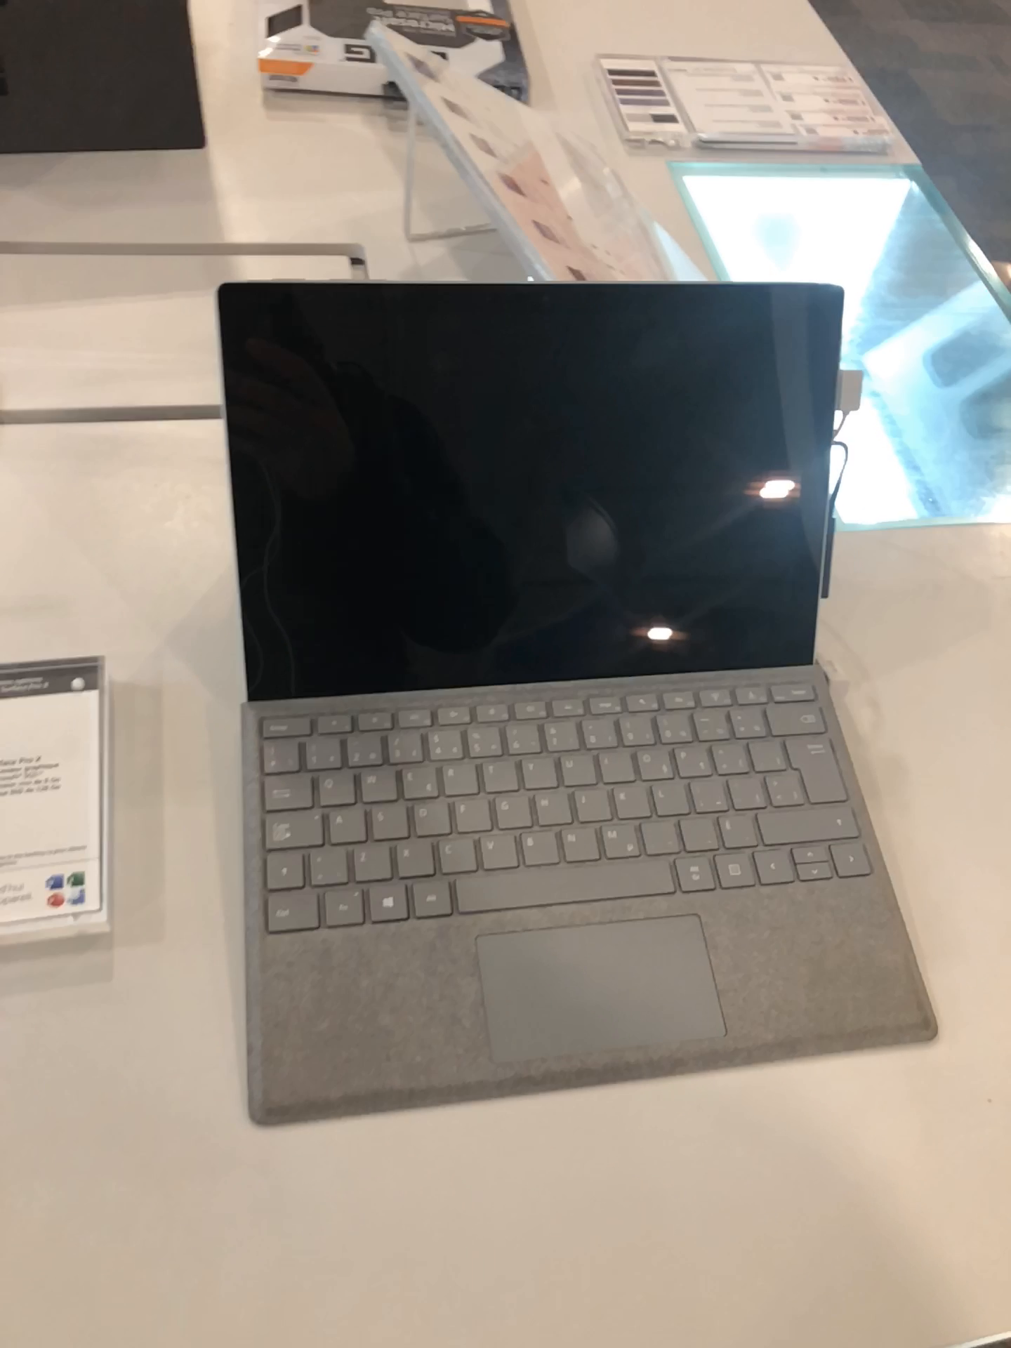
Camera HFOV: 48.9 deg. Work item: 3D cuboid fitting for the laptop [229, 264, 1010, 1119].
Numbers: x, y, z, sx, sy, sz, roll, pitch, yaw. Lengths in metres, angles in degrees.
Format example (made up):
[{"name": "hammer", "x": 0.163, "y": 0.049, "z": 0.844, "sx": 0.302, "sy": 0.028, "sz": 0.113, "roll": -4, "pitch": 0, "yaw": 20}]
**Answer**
[{"name": "laptop", "x": 0.032, "y": -0.010, "z": 0.469, "sx": 0.279, "sy": 0.147, "sz": 0.298, "roll": -3, "pitch": 58, "yaw": -10}]
